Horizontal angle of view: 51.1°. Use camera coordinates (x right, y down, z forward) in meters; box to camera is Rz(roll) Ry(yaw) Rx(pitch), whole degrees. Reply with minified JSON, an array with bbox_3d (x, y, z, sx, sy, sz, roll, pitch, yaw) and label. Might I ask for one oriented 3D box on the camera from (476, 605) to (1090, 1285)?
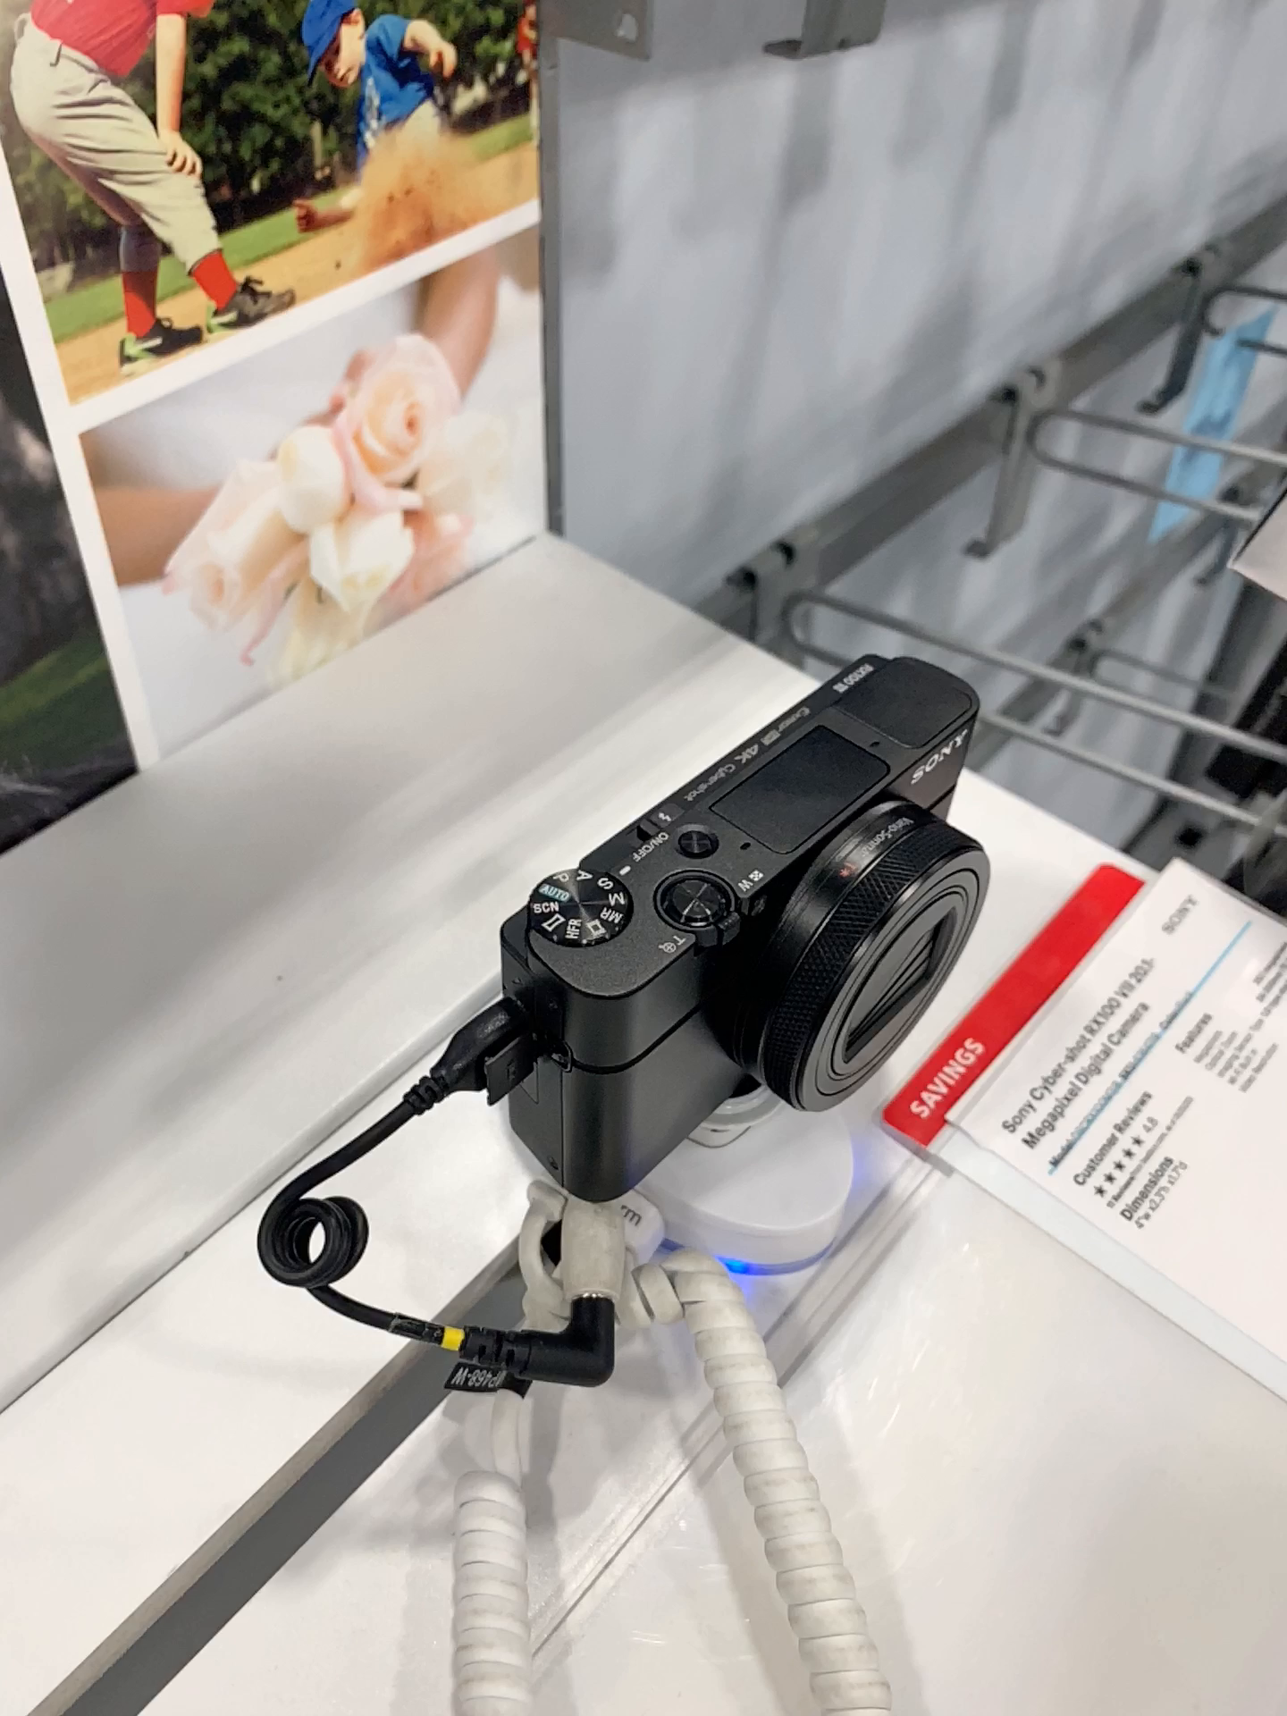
[{"bbox_3d":[0.026,0.011,0.236,0.043,0.060,0.105,33,53,28],"label":"camera"}]
